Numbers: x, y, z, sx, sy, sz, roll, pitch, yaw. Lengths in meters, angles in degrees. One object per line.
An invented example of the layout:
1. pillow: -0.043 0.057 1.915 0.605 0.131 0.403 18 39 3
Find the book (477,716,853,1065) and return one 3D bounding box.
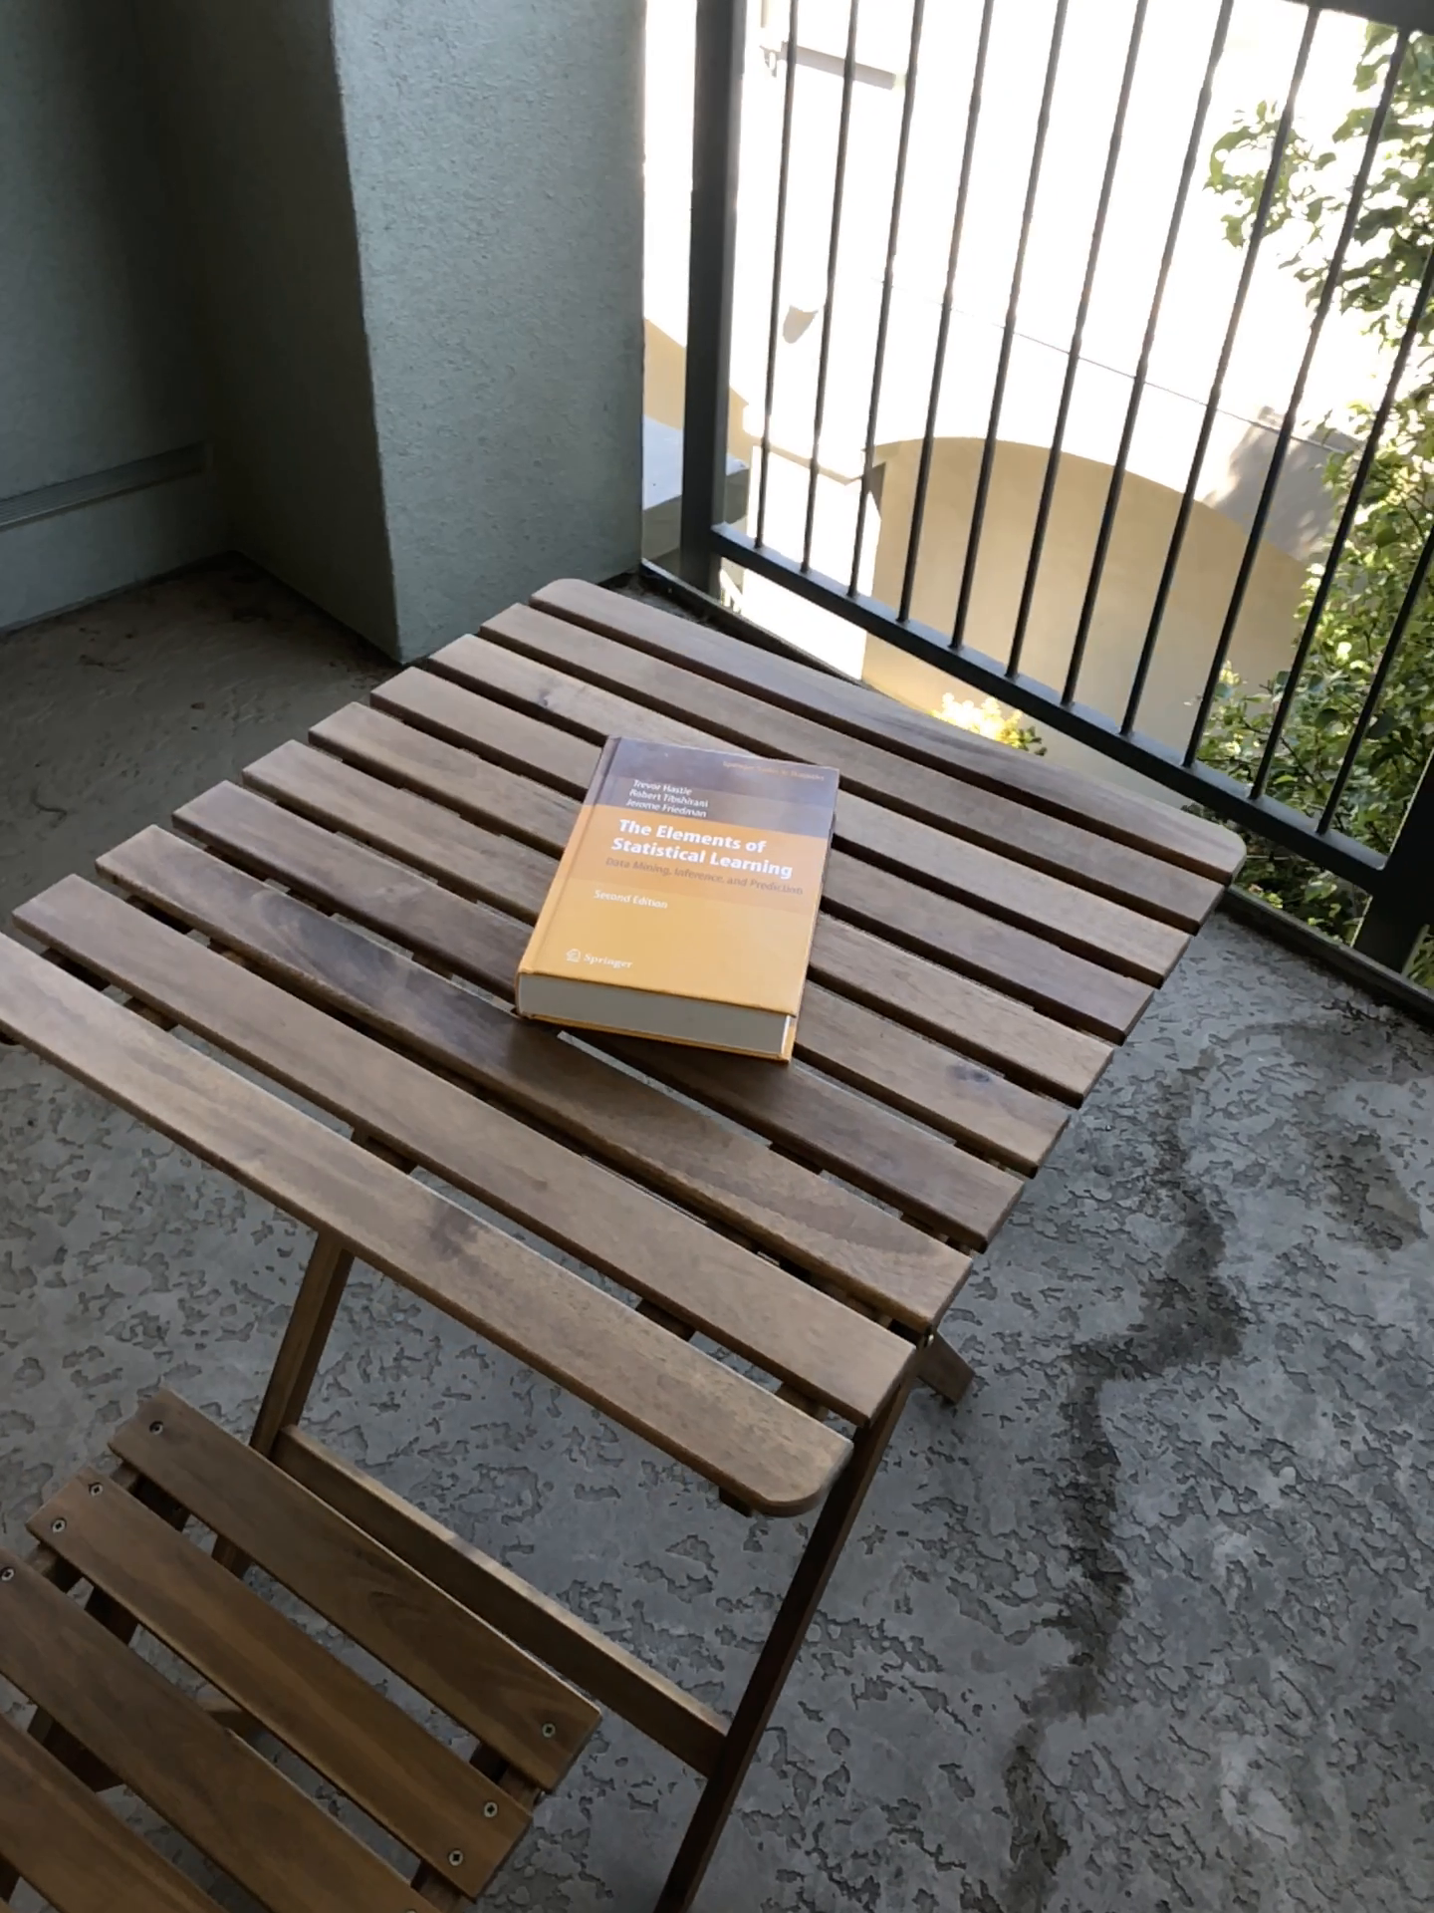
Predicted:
1. book: -0.023 -0.050 0.974 0.180 0.040 0.251 9 42 6
